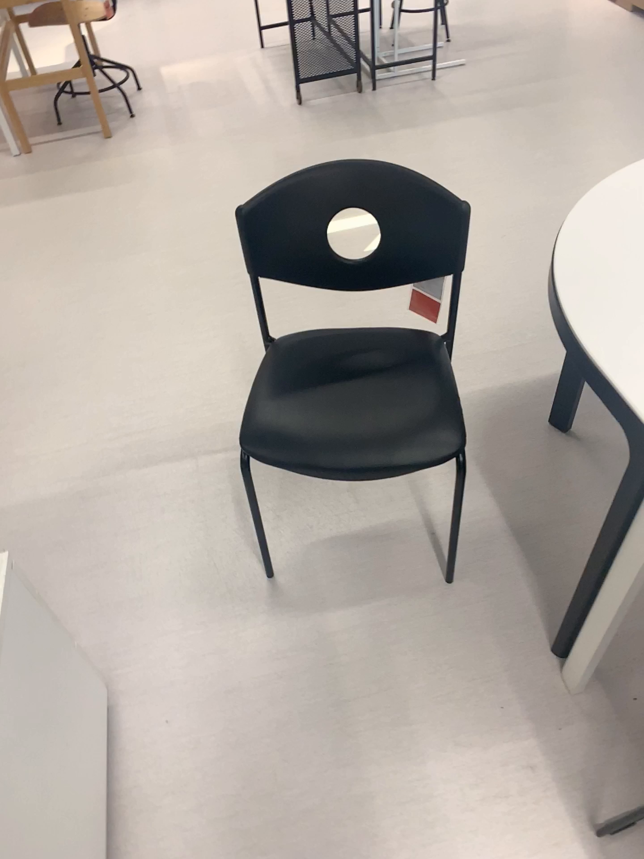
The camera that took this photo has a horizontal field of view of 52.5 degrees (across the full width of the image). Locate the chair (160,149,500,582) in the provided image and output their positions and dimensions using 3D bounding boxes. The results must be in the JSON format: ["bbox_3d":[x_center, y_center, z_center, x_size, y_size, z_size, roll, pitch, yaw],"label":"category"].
[{"bbox_3d":[0.046,-0.112,1.443,0.510,0.737,0.582,-1,47,5],"label":"chair"}]
